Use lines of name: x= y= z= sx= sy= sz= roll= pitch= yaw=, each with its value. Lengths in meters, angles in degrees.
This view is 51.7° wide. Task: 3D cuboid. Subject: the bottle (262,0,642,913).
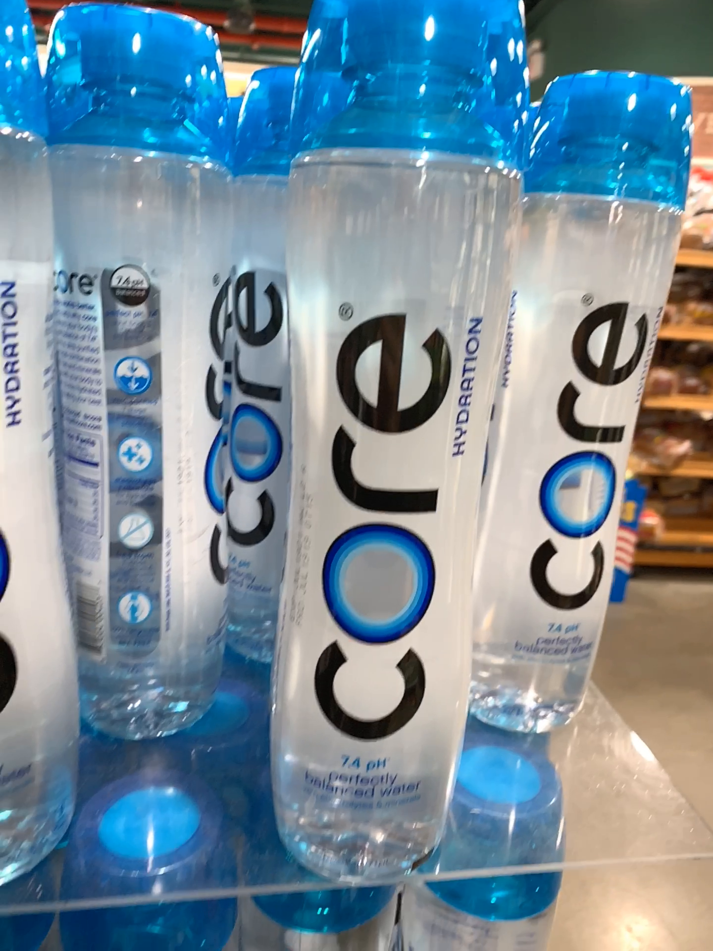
bottle: x=0.017 y=-0.003 z=0.257 sx=0.080 sy=0.289 sz=0.090 roll=4 pitch=16 yaw=-2
